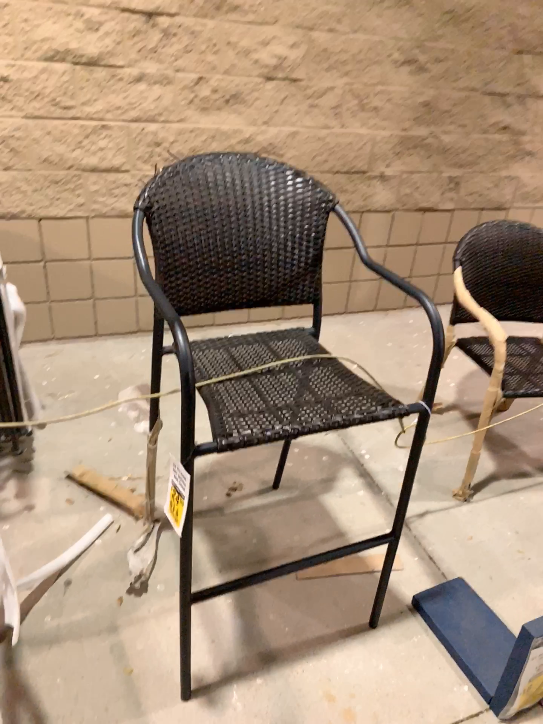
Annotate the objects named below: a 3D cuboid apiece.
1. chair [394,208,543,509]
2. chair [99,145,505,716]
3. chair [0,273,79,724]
[{"bbox_3d":[0.888,-0.031,1.958,0.567,0.832,0.631,0,30,-10],"label":"chair"},{"bbox_3d":[-0.037,0.129,1.313,0.557,1.101,0.610,-8,32,-23],"label":"chair"},{"bbox_3d":[-0.696,0.387,0.881,0.577,0.832,0.610,-10,33,-25],"label":"chair"}]
